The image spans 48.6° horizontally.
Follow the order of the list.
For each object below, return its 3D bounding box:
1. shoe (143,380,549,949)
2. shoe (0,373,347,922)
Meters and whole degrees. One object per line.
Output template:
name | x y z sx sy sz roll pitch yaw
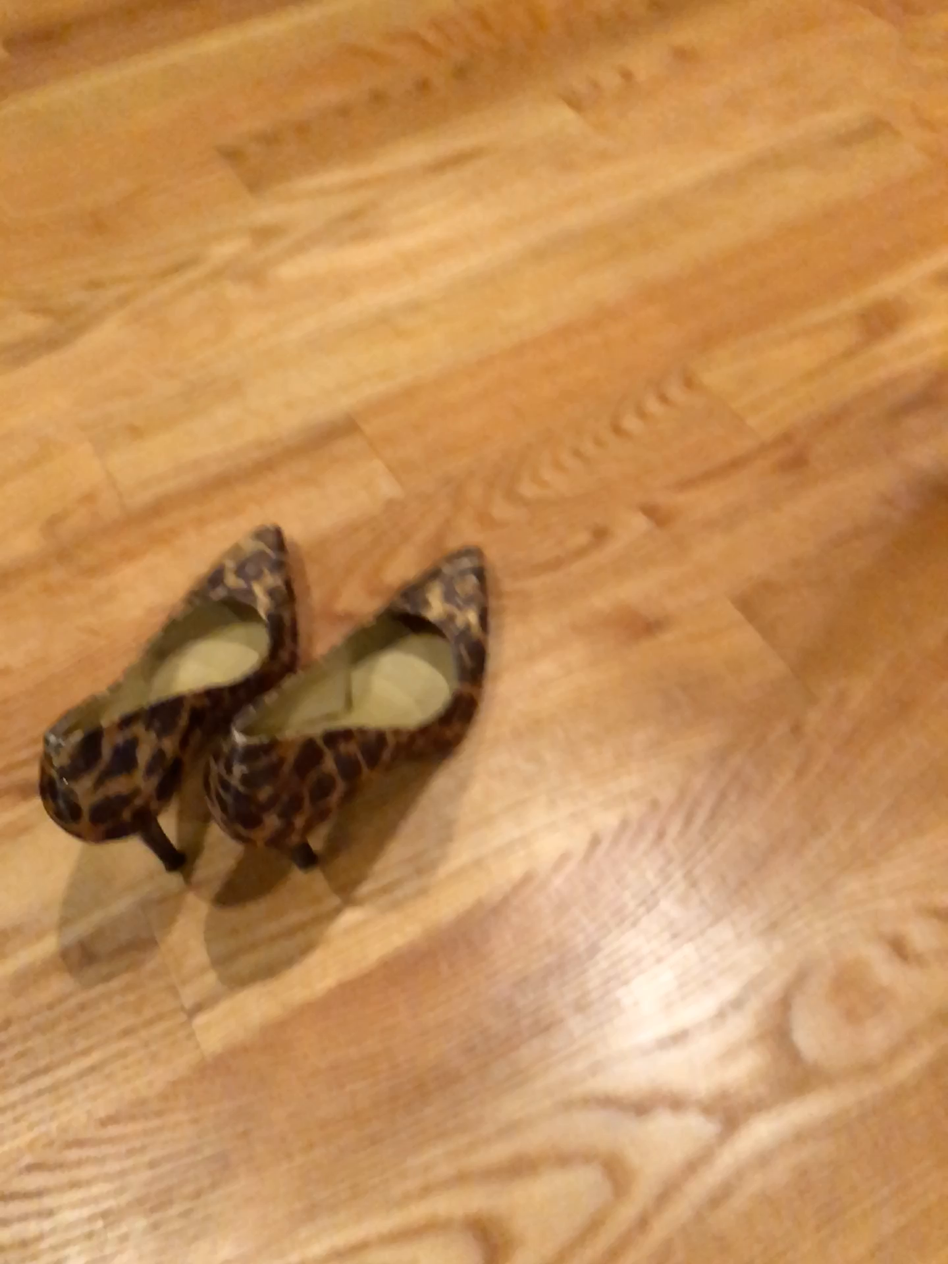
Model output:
shoe | -0.043 0.014 0.507 0.084 0.144 0.219 18 59 14
shoe | -0.139 0.006 0.517 0.083 0.144 0.219 7 57 7
